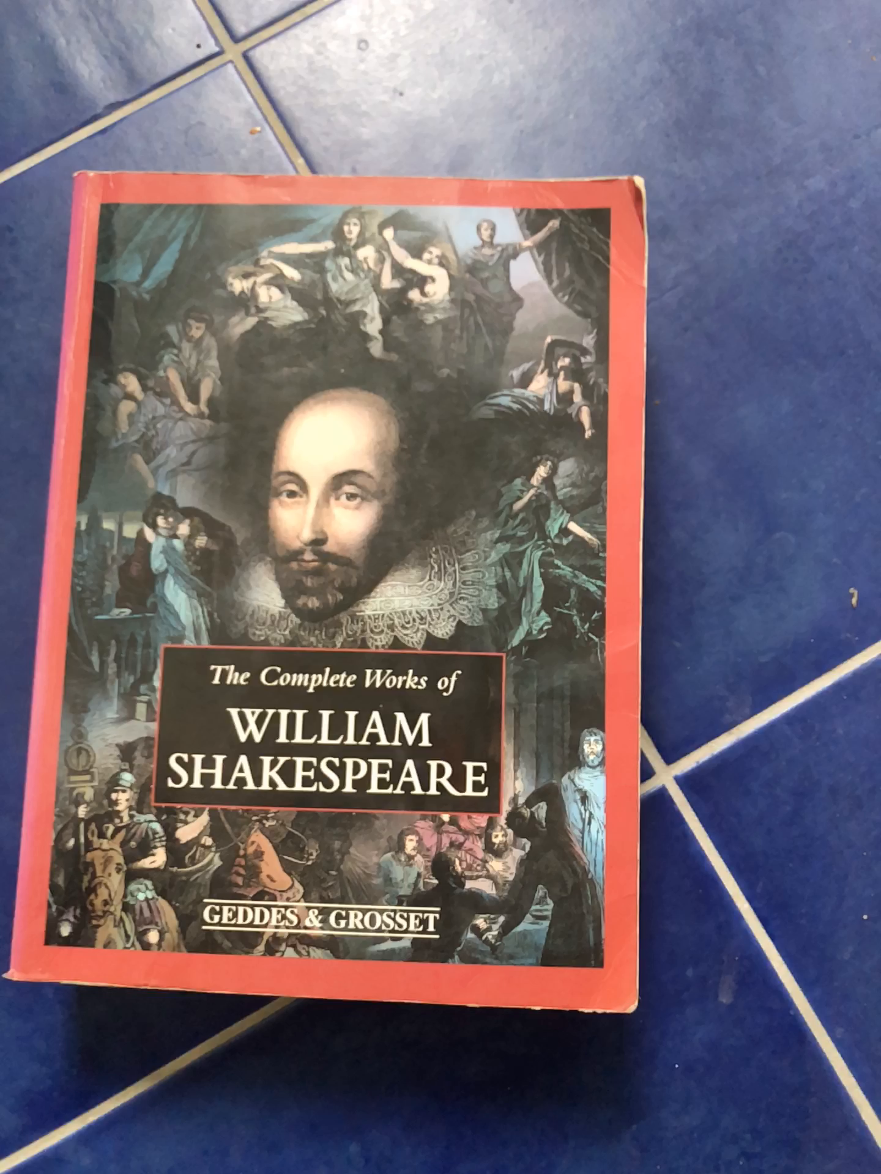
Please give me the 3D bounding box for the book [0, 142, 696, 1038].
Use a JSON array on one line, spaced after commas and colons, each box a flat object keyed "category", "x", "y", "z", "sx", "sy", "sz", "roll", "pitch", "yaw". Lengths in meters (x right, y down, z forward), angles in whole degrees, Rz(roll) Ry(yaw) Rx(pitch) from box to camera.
[{"category": "book", "x": -0.027, "y": -0.005, "z": 0.330, "sx": 0.210, "sy": 0.060, "sz": 0.270, "roll": 2, "pitch": 83, "yaw": 2}]
